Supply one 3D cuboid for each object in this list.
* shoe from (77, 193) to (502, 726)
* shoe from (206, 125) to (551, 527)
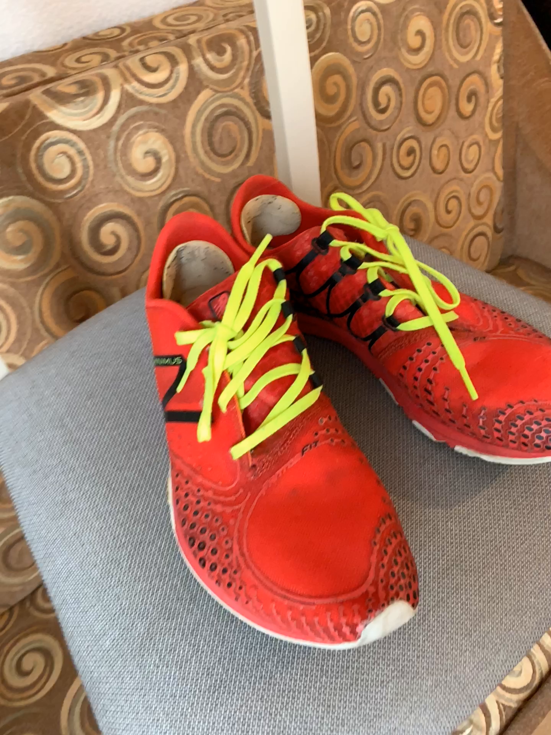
[{"bbox_3d":[-0.015,0.027,0.316,0.110,0.090,0.261,-20,54,-13],"label":"shoe"},{"bbox_3d":[0.088,-0.043,0.360,0.110,0.090,0.261,-38,60,-25],"label":"shoe"}]
